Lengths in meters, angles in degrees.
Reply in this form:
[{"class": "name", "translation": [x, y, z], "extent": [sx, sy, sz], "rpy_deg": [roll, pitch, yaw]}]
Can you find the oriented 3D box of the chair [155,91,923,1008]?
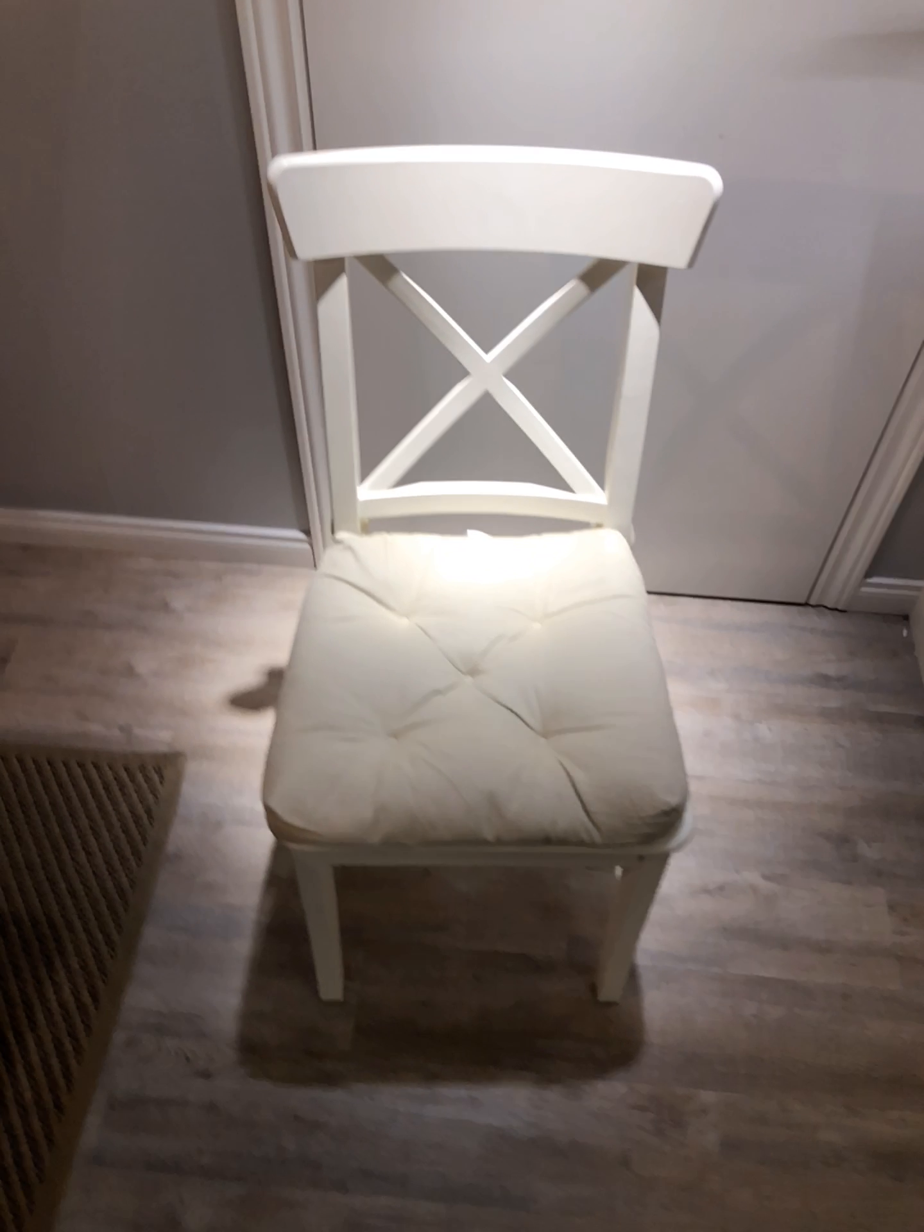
[{"class": "chair", "translation": [0.041, 0.012, 1.074], "extent": [0.450, 0.875, 0.513], "rpy_deg": [0, 51, -1]}]
